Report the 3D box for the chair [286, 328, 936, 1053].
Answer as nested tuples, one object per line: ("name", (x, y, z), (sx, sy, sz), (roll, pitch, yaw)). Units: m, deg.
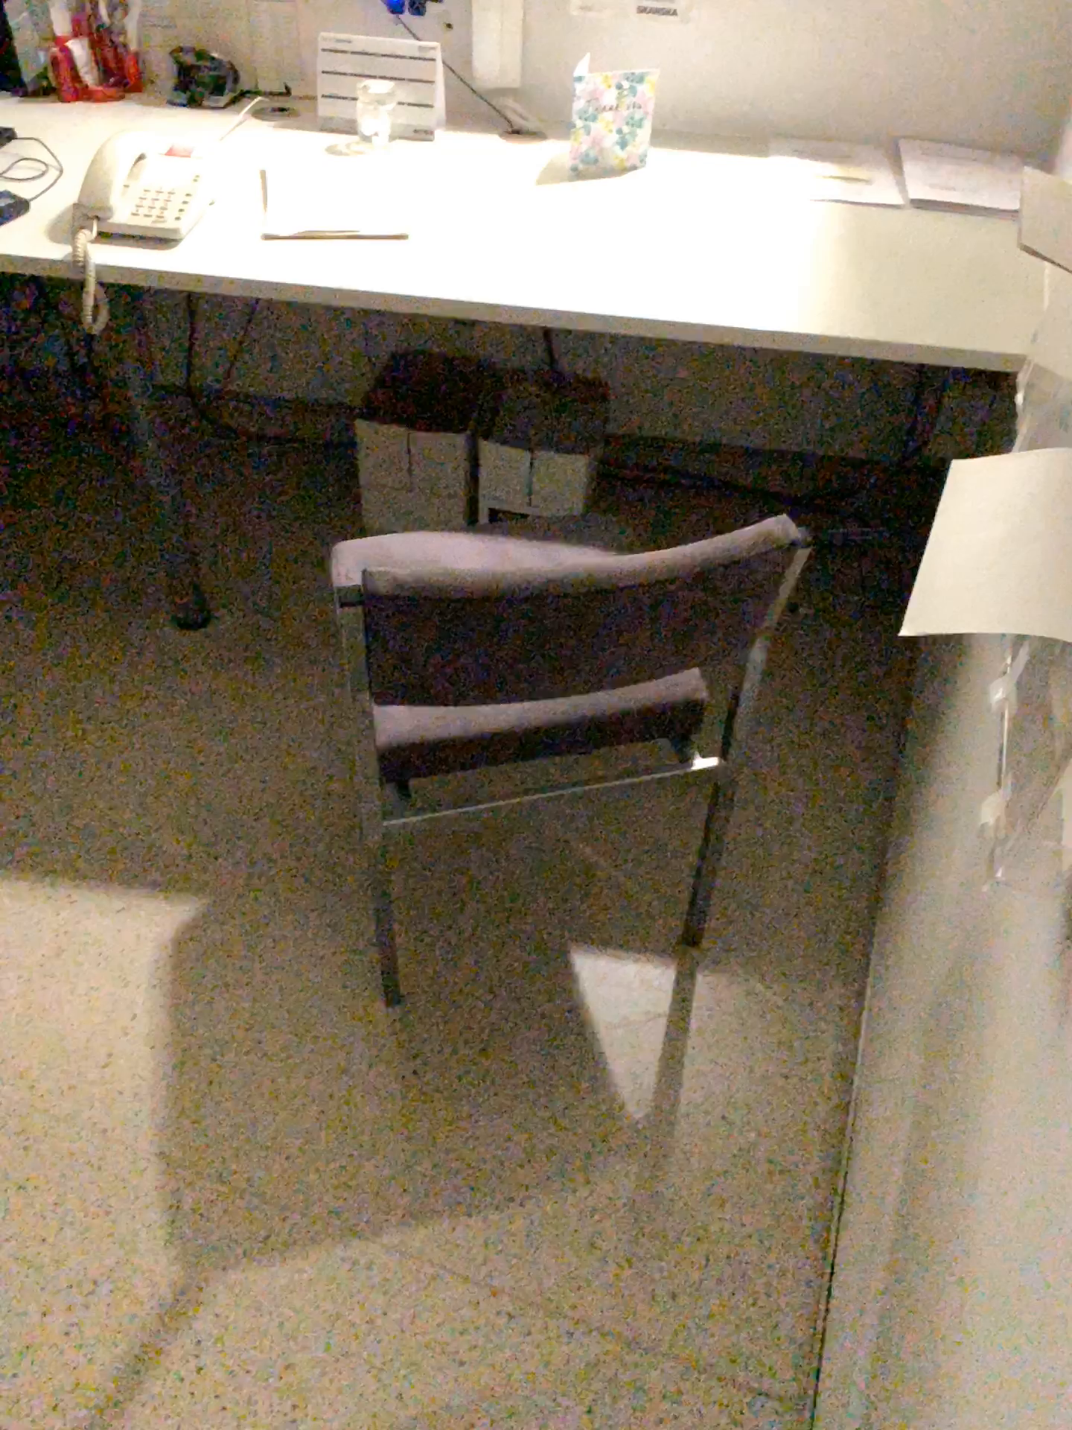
("chair", (0.023, -0.039, 1.396), (0.570, 0.663, 0.555), (-7, 44, -11))
